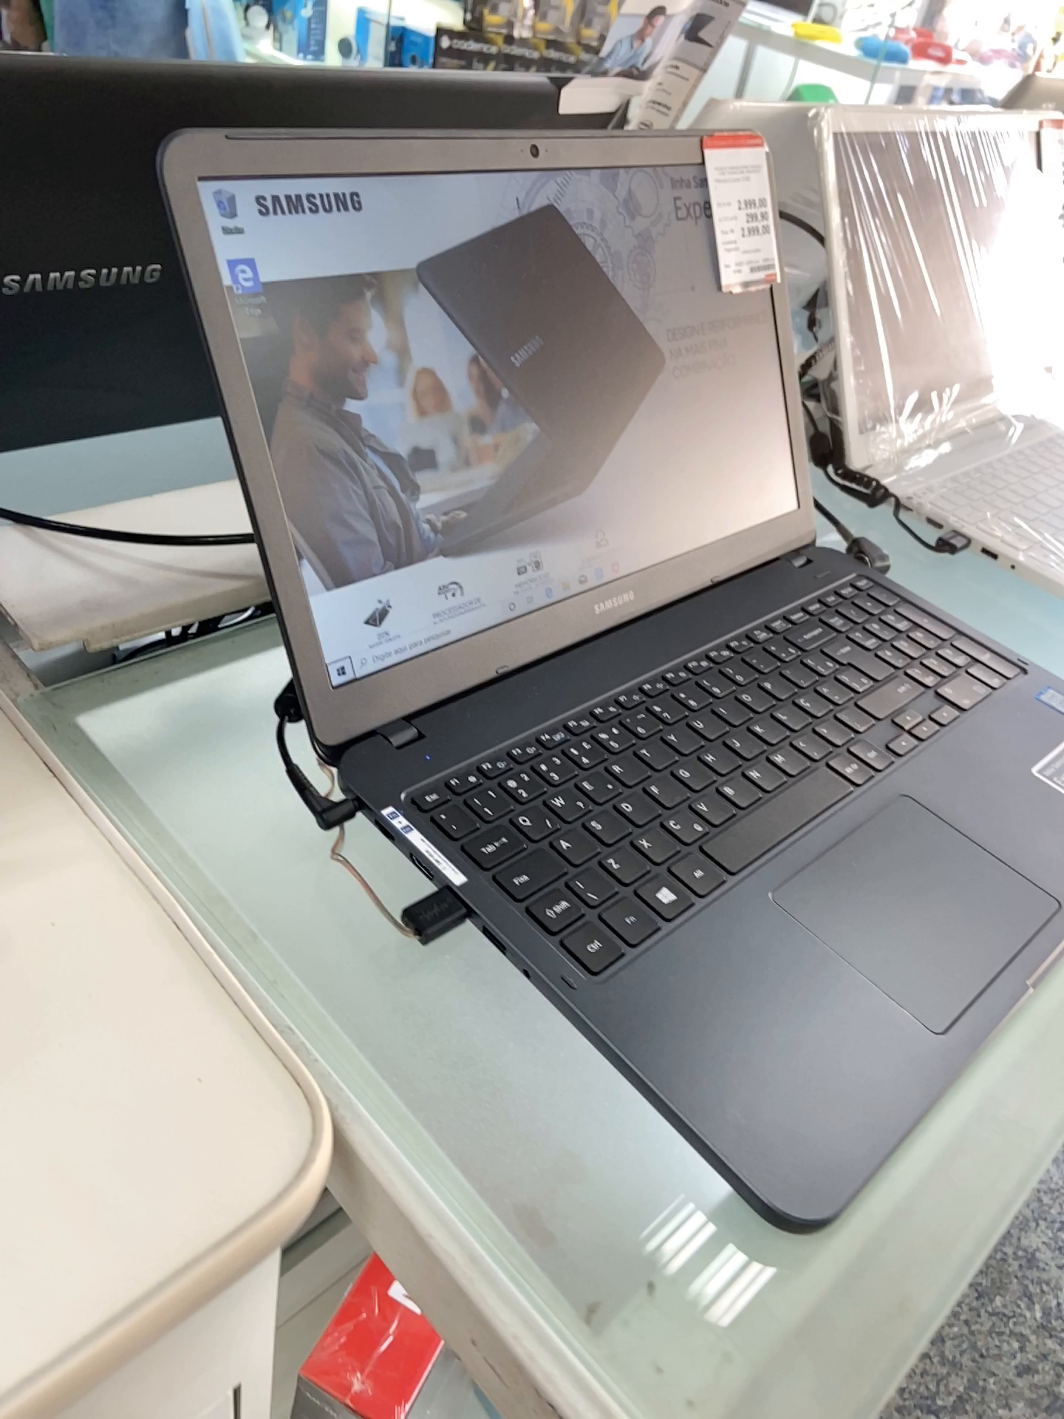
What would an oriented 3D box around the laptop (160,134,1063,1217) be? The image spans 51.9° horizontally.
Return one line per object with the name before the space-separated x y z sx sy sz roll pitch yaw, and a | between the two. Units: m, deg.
laptop | 0.105 -0.087 0.481 0.372 0.200 0.369 -25 52 -39
